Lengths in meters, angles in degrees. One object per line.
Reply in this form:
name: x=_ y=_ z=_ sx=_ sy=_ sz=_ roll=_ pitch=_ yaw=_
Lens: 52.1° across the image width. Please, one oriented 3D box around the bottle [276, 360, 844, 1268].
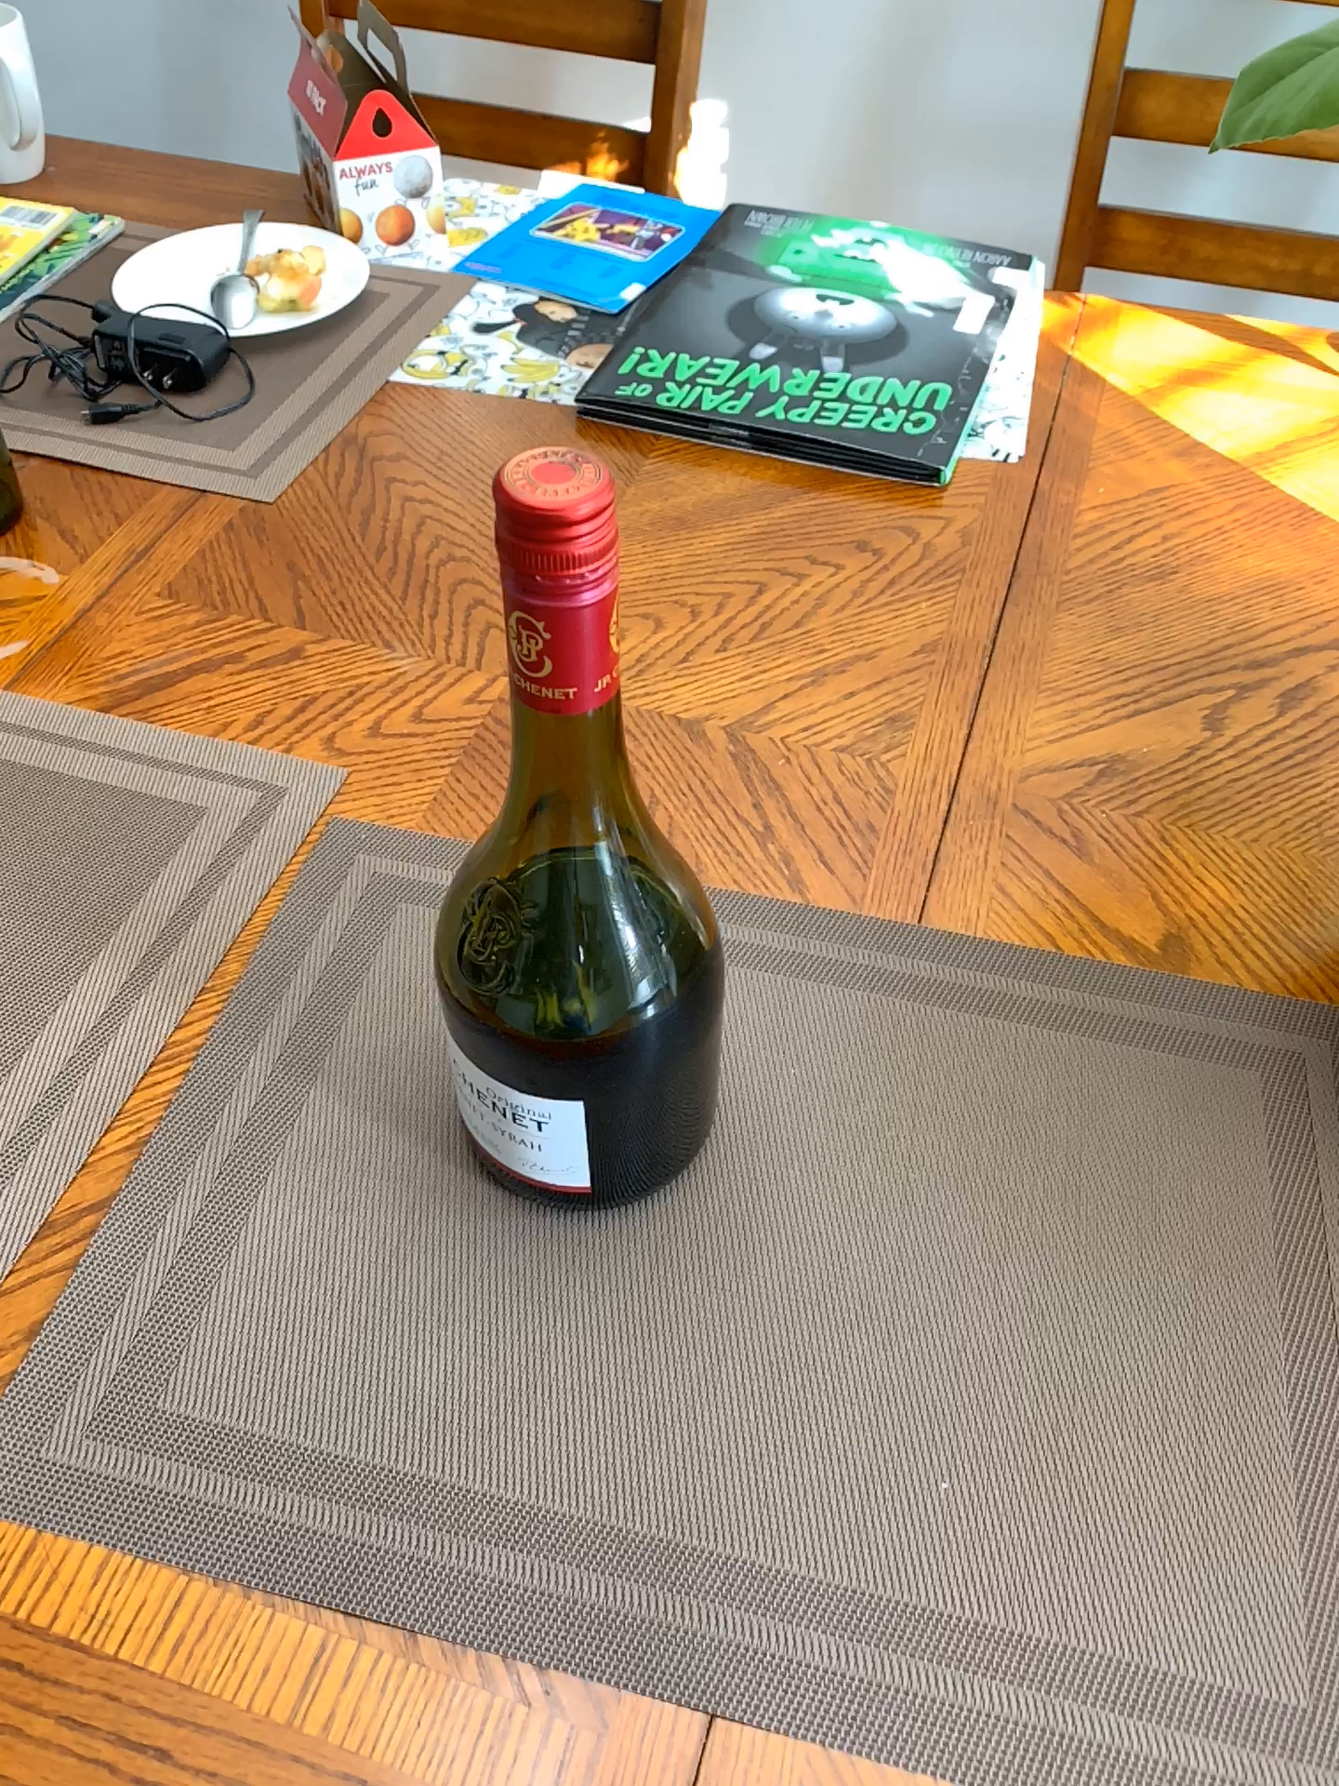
bottle: x=-0.031 y=-0.008 z=0.424 sx=0.100 sy=0.258 sz=0.101 roll=1 pitch=48 yaw=-1
